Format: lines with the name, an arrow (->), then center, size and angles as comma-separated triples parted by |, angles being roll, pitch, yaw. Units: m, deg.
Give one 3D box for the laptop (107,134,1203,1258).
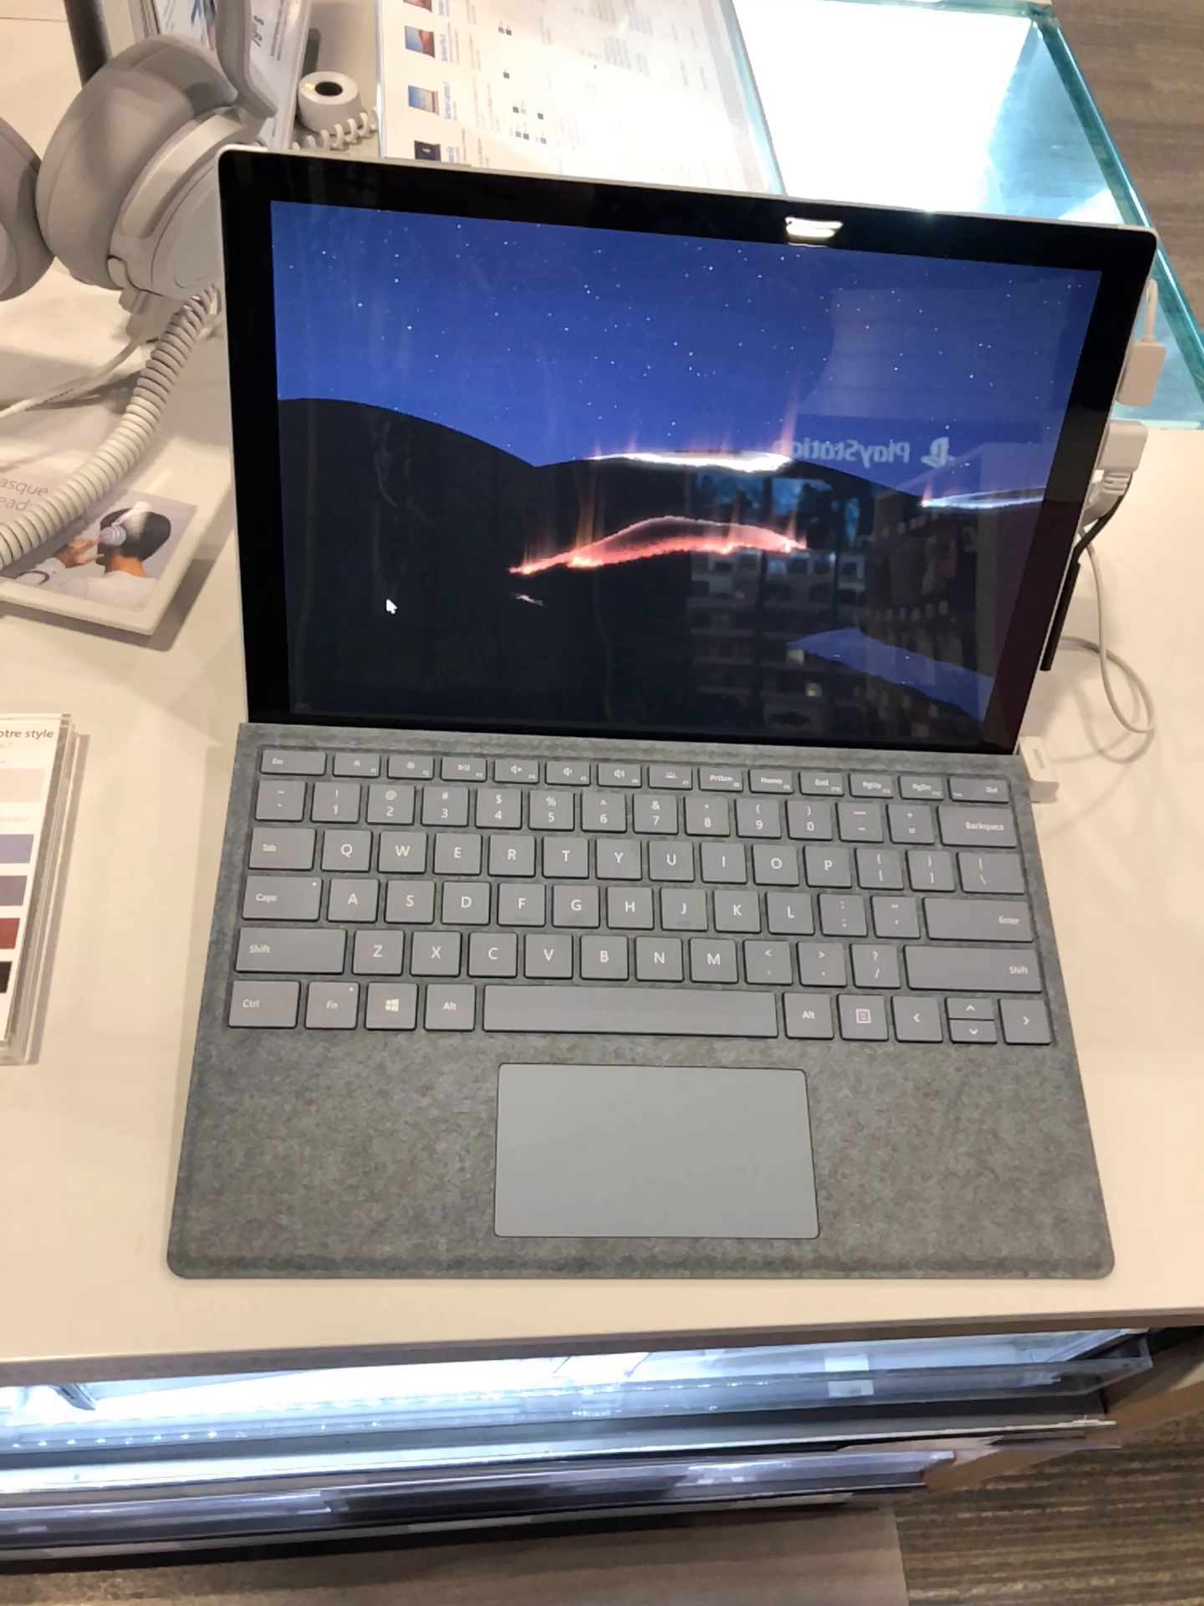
laptop -> 0.031, -0.032, 0.394 | 0.261, 0.143, 0.284 | 3, 62, -2
